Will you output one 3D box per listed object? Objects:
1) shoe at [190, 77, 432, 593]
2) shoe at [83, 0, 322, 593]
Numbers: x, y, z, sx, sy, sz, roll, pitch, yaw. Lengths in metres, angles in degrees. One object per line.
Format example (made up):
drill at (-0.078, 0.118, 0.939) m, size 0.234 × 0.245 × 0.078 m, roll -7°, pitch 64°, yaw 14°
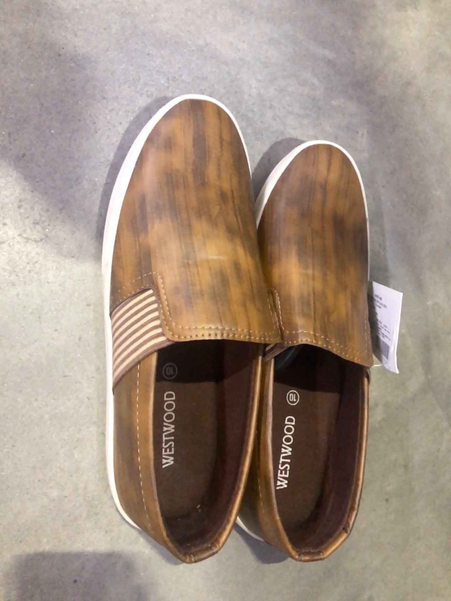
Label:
shoe at (0.061, 0.022, 0.360) m, size 0.110 × 0.100 × 0.310 m, roll 10°, pitch 80°, yaw -16°
shoe at (-0.017, -0.009, 0.297) m, size 0.110 × 0.100 × 0.290 m, roll 4°, pitch 81°, yaw -17°
